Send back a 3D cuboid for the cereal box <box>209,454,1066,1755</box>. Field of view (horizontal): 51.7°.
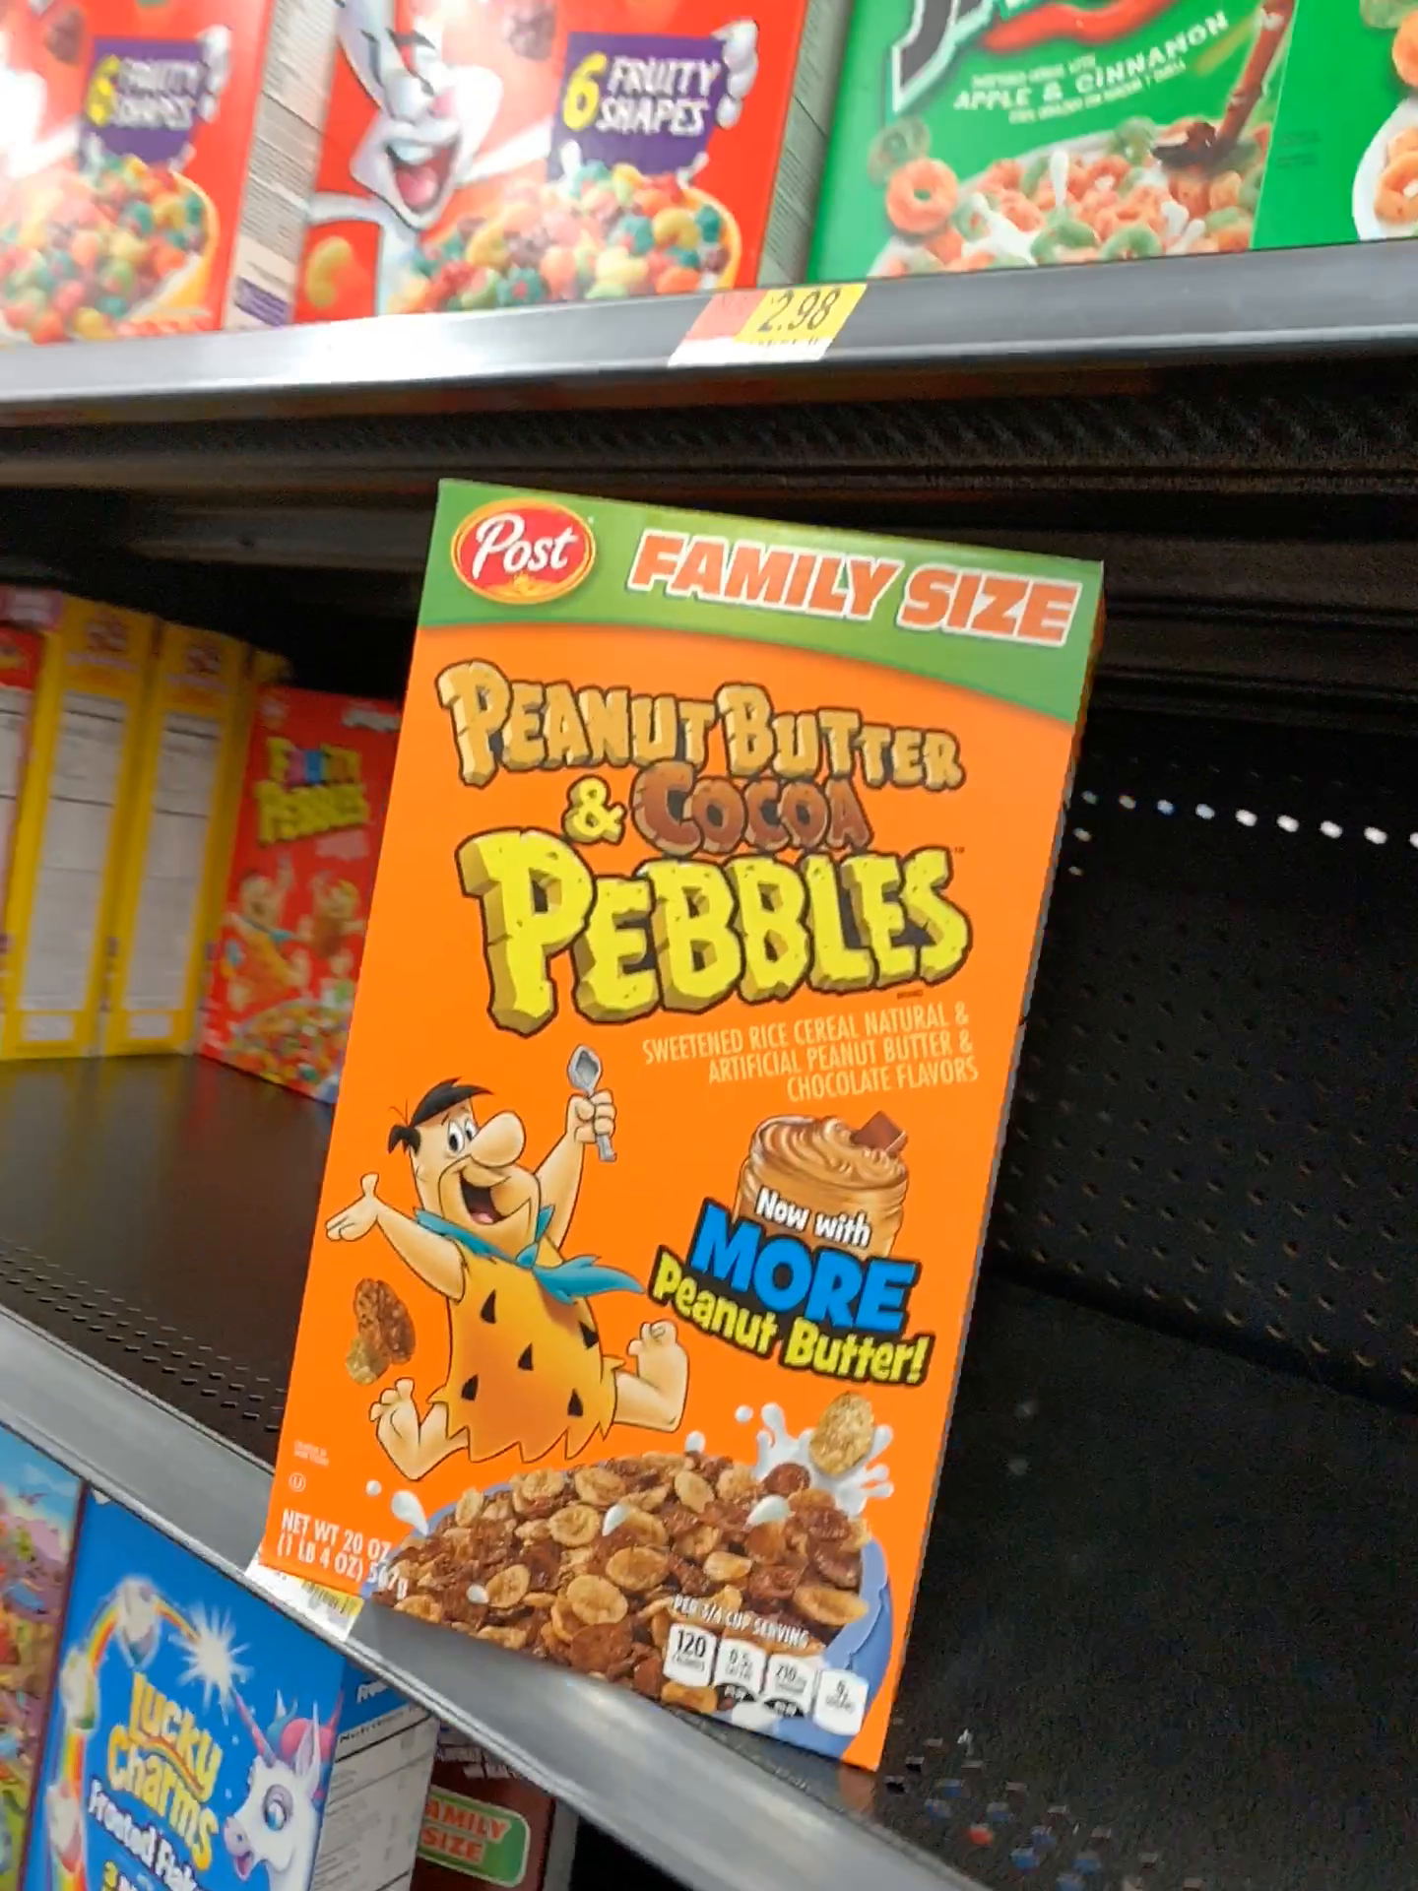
[{"bbox_3d":[-0.022,0.037,0.450,0.200,0.340,0.060,10,2,14],"label":"cereal box"}]
